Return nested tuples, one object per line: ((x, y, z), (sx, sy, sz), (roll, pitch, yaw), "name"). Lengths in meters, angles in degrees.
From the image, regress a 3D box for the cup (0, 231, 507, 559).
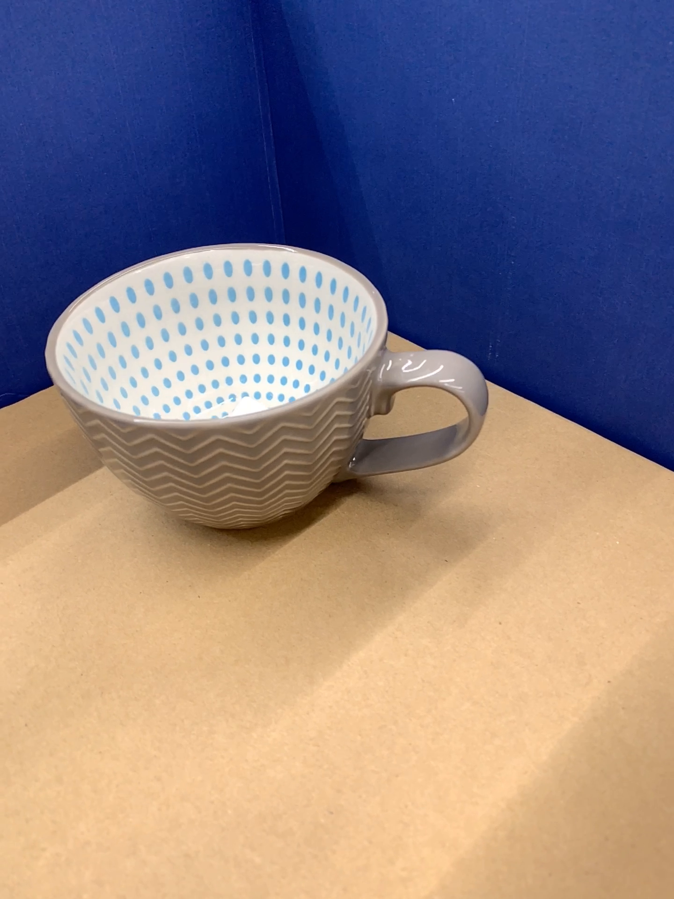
((-0.022, -0.027, 0.245), (0.150, 0.058, 0.109), (3, 39, 9), "cup")
